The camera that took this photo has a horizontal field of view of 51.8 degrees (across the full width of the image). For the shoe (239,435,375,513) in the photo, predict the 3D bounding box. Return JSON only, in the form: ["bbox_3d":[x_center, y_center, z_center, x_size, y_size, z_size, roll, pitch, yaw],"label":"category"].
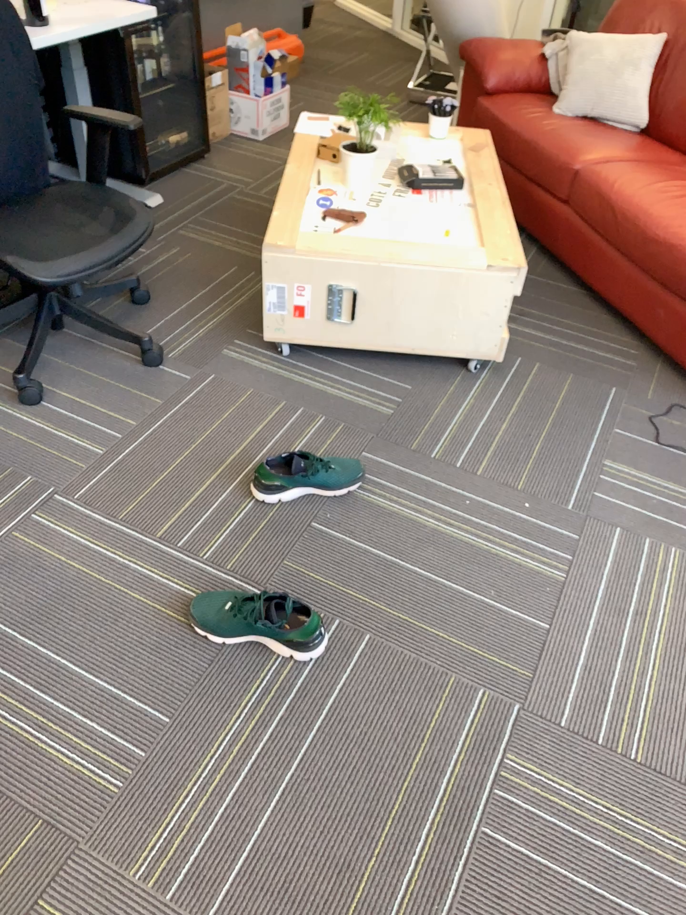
[{"bbox_3d":[-0.093,0.040,1.789,0.320,0.099,0.121,-8,45,-13],"label":"shoe"}]

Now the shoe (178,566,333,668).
[{"bbox_3d":[-0.182,0.335,1.490,0.300,0.099,0.100,13,44,8],"label":"shoe"}]
